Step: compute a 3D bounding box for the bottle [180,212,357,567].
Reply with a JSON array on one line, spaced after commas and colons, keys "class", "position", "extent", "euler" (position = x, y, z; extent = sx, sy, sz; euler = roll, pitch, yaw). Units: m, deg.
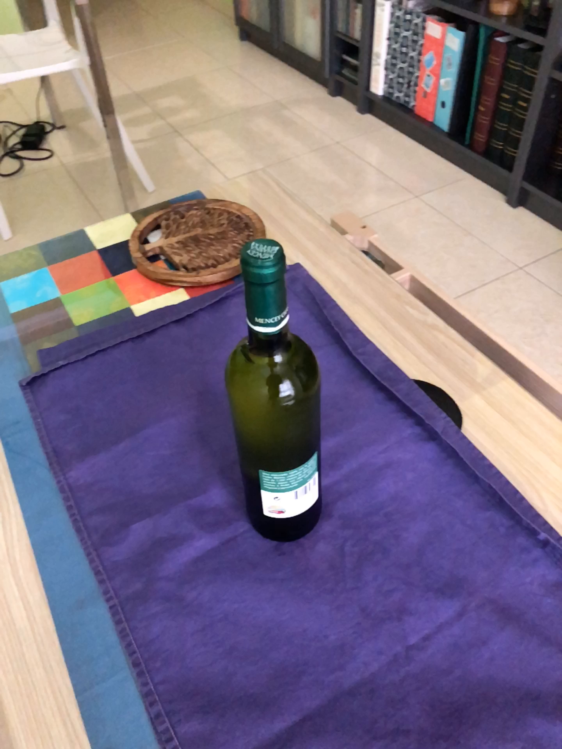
[{"class": "bottle", "position": [-0.004, 0.029, 0.455], "extent": [0.090, 0.269, 0.090], "euler": [-2, 46, 2]}]
